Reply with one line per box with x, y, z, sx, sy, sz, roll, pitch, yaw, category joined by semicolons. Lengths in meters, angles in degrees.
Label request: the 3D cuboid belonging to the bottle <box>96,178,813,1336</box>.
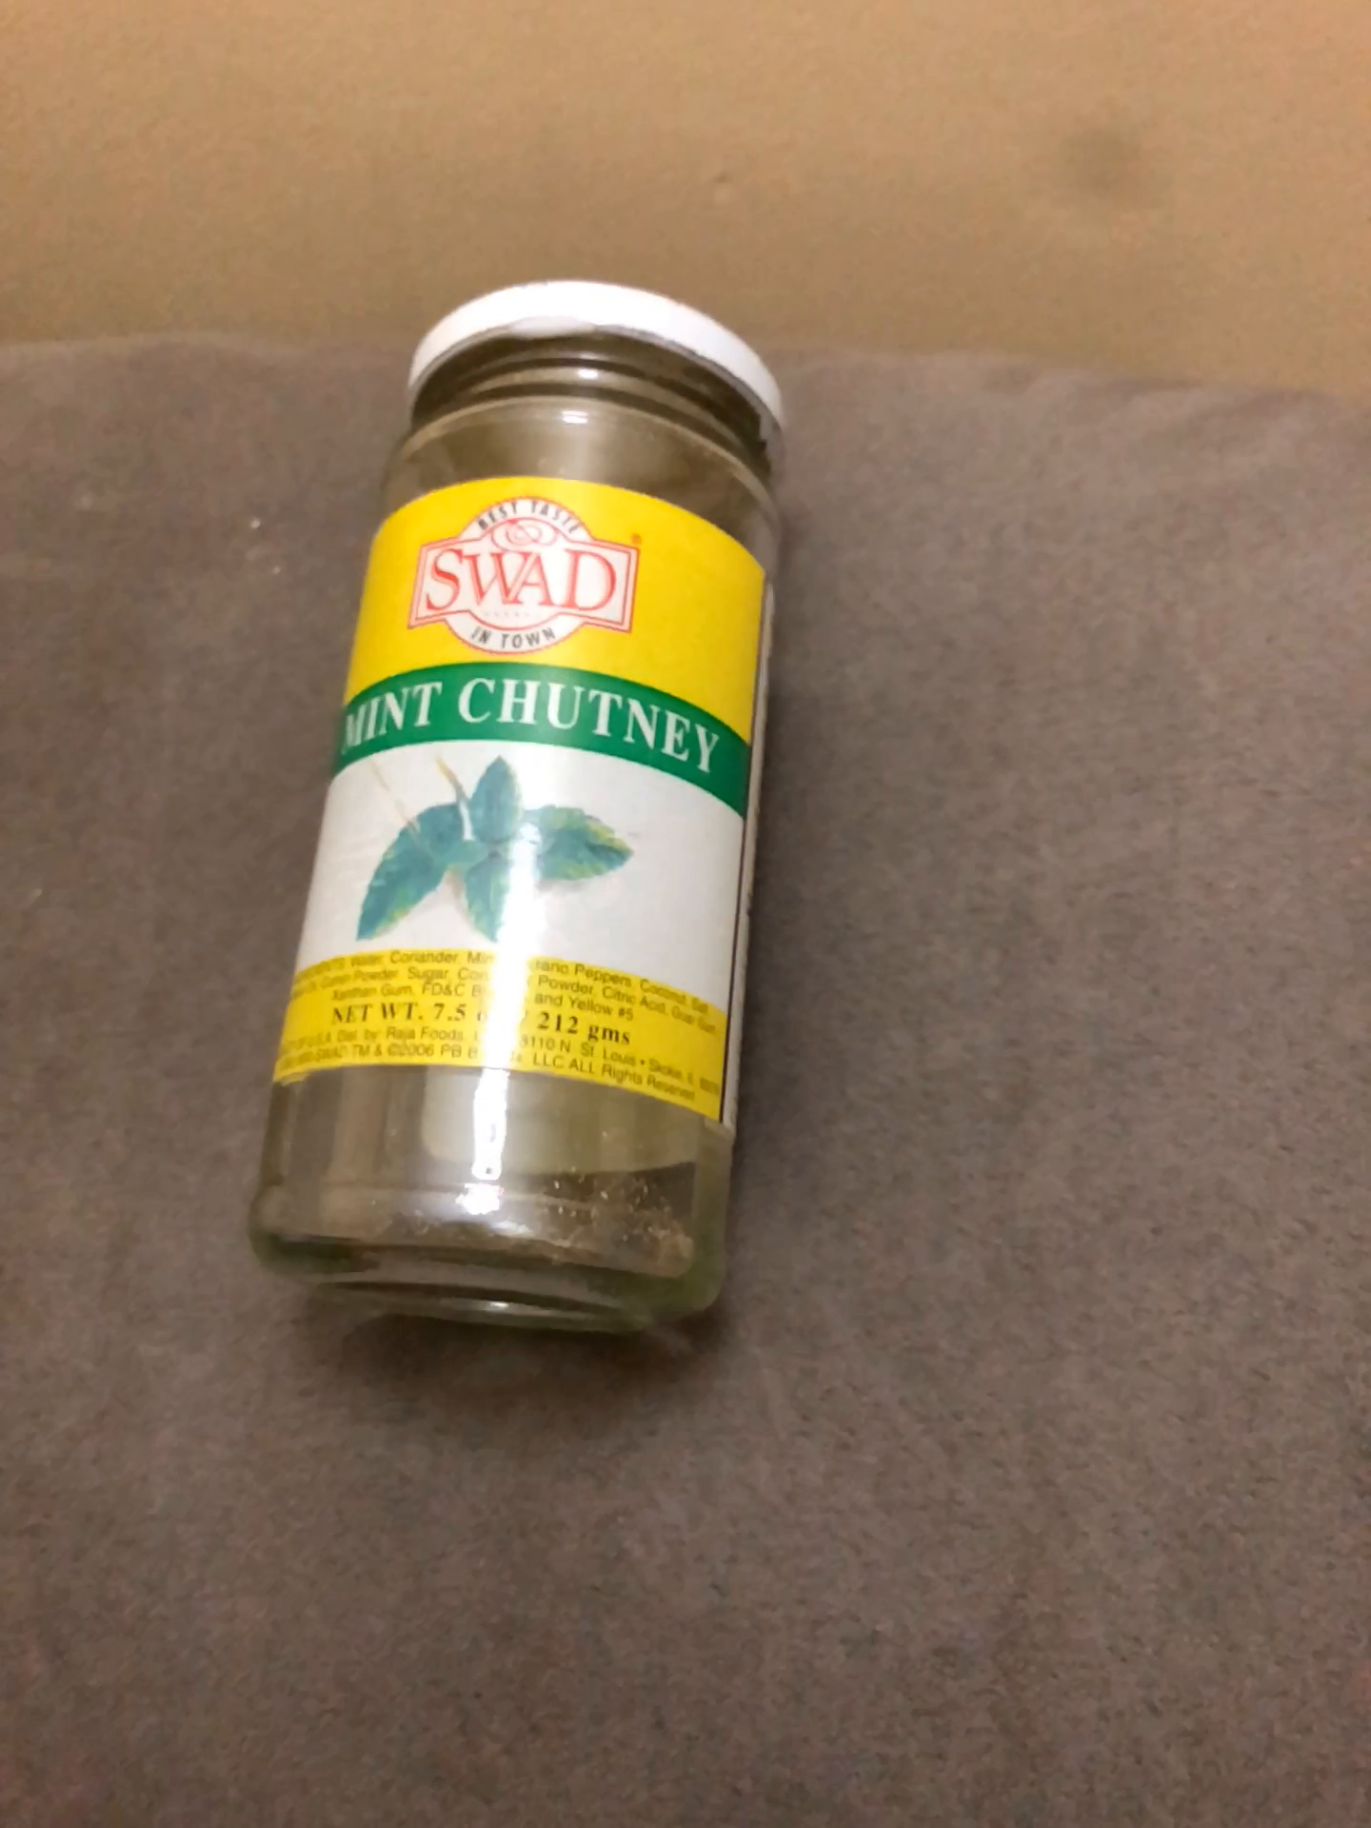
-0.021;-0.019;0.207;0.060;0.059;0.137;0;70;14;bottle
